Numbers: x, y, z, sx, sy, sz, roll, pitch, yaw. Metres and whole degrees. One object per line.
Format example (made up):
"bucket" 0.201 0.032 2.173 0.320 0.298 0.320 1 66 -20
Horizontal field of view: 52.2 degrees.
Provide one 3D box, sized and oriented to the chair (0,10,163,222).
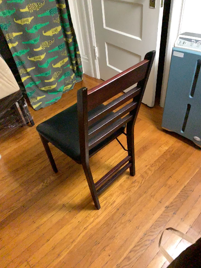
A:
"chair" -0.094 -0.081 1.098 0.491 0.865 0.553 -37 51 -27
